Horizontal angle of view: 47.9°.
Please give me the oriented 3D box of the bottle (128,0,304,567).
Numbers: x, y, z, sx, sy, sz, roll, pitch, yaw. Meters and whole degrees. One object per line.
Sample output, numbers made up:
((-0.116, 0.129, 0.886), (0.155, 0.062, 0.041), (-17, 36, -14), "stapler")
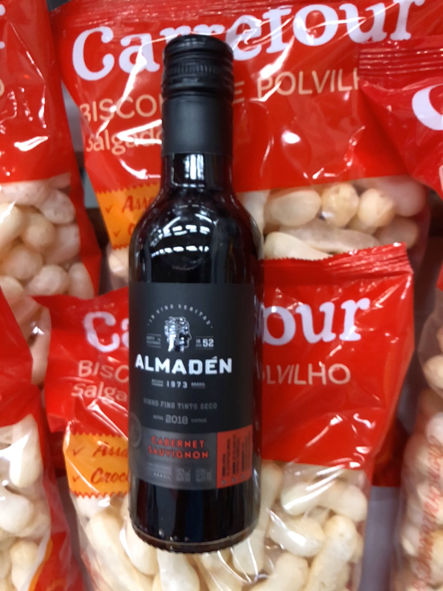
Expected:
((0.001, -0.007, 0.200), (0.060, 0.050, 0.200), (1, 90, 8), "bottle")
